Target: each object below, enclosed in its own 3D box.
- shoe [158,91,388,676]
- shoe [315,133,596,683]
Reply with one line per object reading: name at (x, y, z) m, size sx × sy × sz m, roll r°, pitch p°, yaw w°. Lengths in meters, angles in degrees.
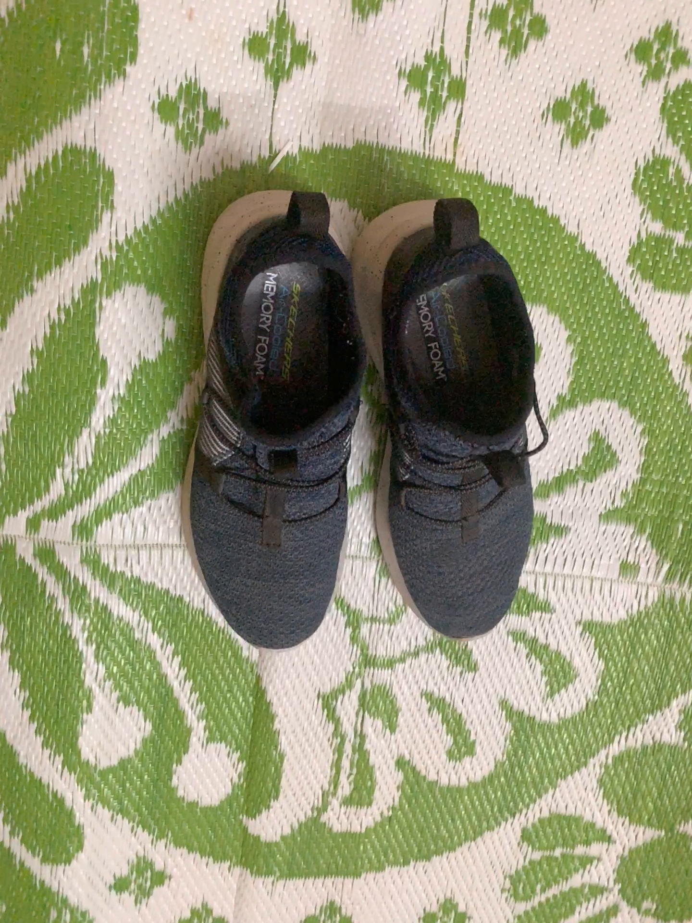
shoe at (-0.043, -0.038, 0.420) m, size 0.110 × 0.100 × 0.300 m, roll -1°, pitch 102°, yaw -8°
shoe at (0.066, -0.029, 0.440) m, size 0.110 × 0.100 × 0.290 m, roll -12°, pitch 104°, yaw -6°
